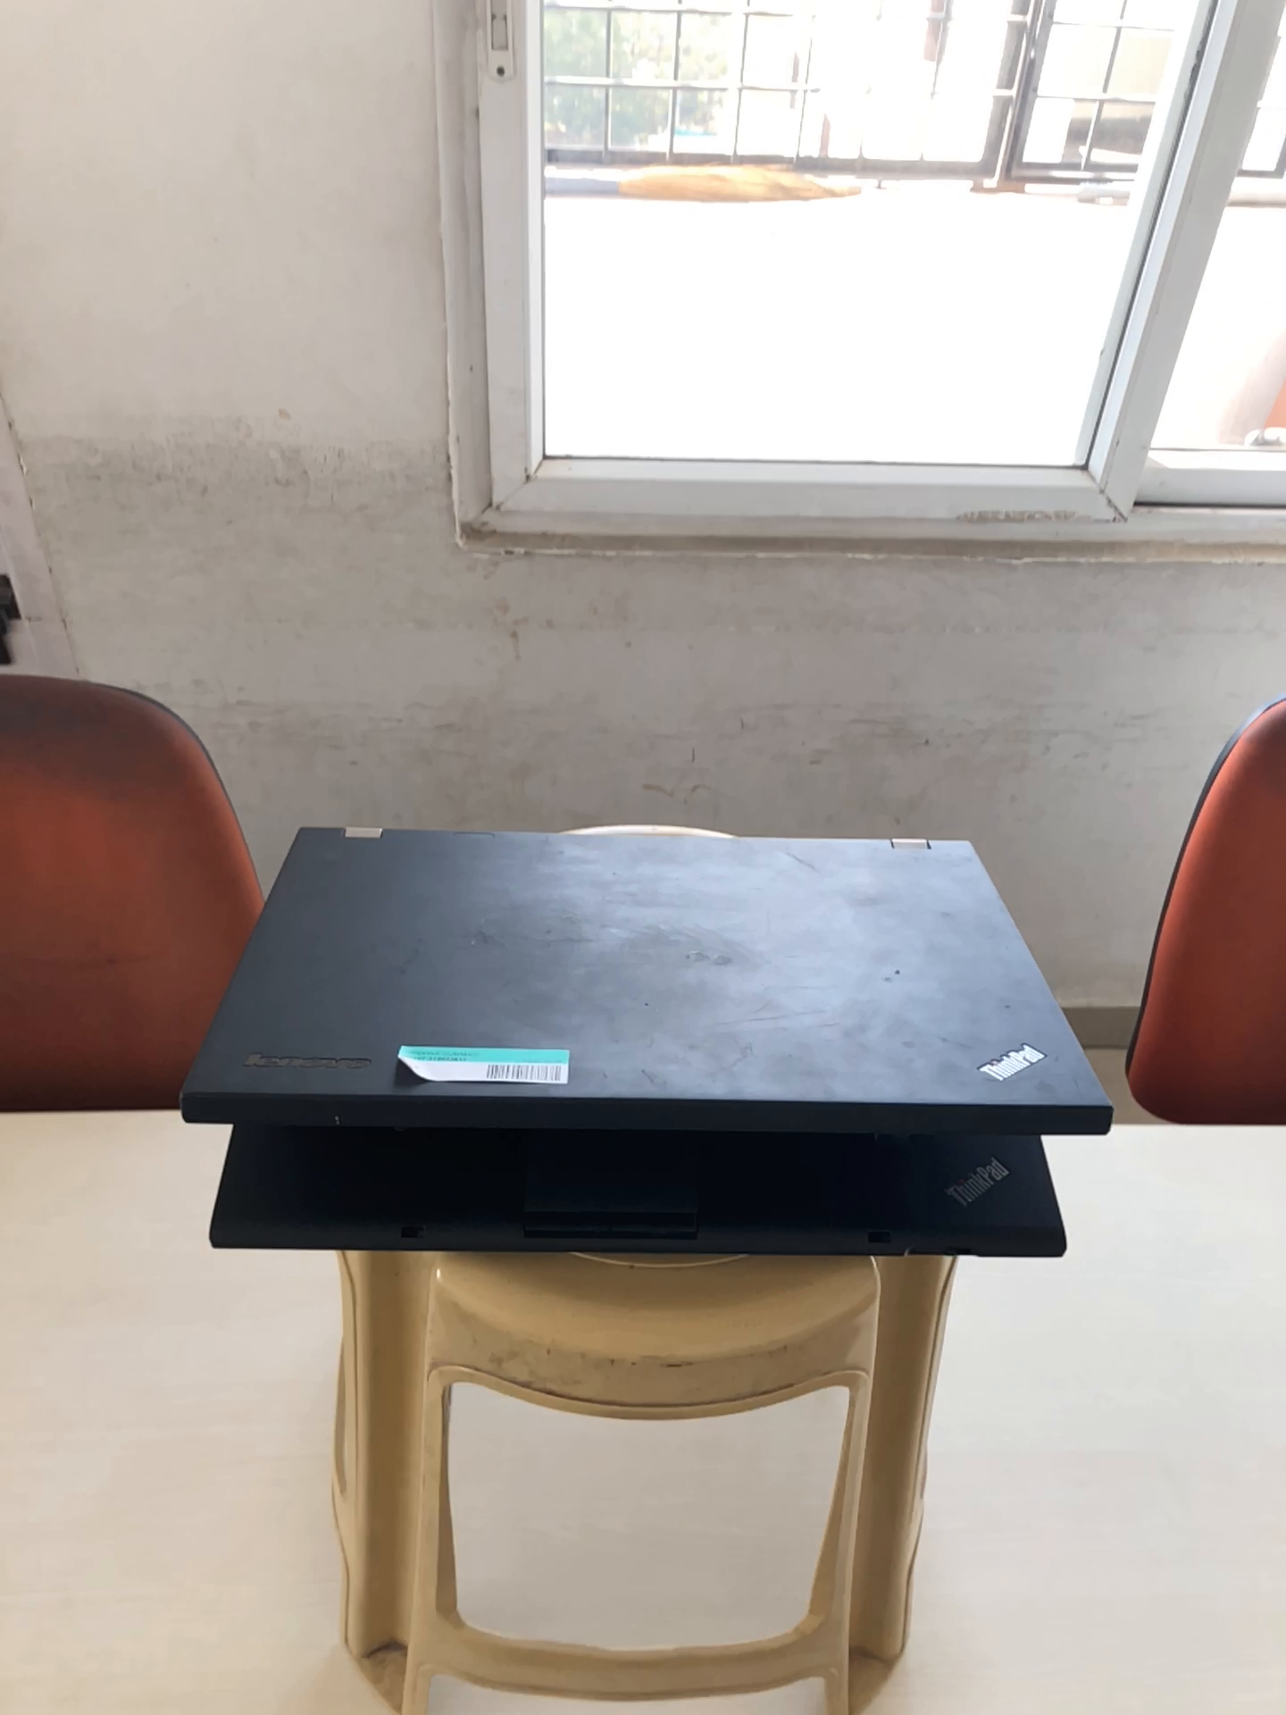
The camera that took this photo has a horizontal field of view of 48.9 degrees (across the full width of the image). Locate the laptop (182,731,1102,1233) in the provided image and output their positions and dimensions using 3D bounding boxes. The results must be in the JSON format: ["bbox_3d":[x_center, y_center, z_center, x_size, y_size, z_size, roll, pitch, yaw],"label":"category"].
[{"bbox_3d":[0.001,0.049,0.663,0.362,0.074,0.236,1,45,-3],"label":"laptop"}]
